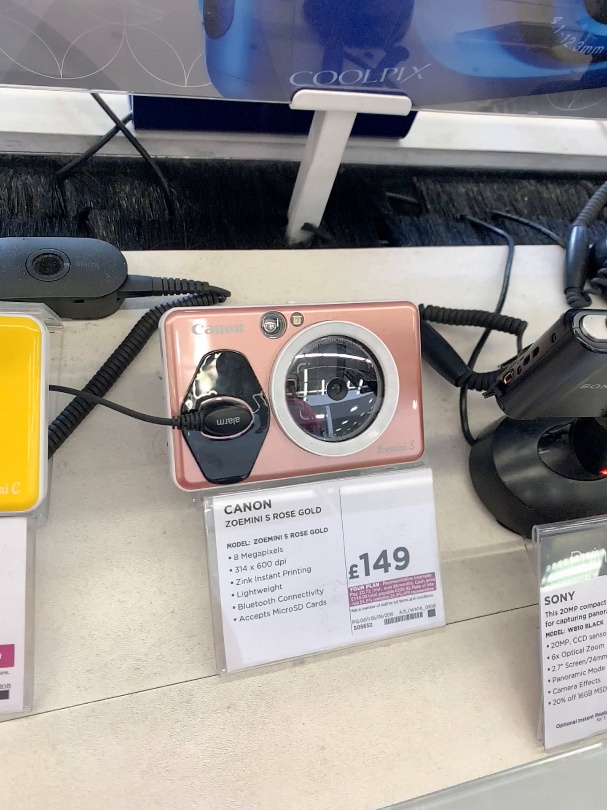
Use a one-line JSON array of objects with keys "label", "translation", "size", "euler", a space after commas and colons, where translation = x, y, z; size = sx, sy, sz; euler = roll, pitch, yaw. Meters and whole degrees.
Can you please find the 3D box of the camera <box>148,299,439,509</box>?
[{"label": "camera", "translation": [-0.002, -0.004, 0.288], "size": [0.129, 0.020, 0.083], "euler": [-5, 94, -18]}]
